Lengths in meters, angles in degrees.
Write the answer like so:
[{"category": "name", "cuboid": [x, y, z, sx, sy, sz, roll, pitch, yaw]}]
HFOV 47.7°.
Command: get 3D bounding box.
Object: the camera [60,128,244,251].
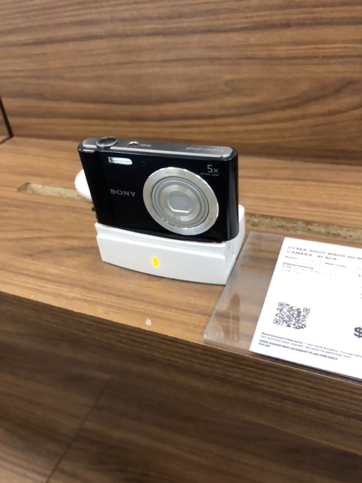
[{"category": "camera", "cuboid": [-0.015, -0.032, 0.242, 0.100, 0.060, 0.020, 10, 44, 21]}]
